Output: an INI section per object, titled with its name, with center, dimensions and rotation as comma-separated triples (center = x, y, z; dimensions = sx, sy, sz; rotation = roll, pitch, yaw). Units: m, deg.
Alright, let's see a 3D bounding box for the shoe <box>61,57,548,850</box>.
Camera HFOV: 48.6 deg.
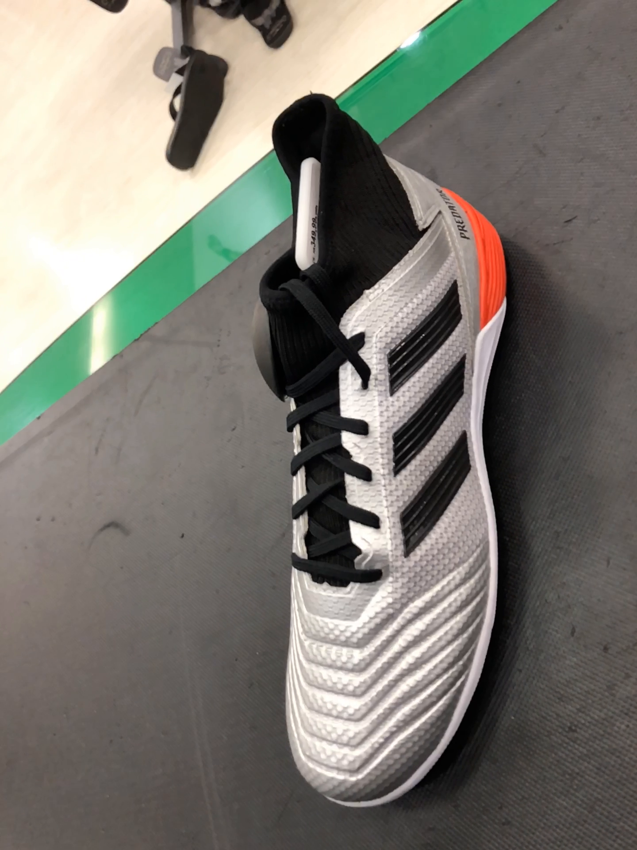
[shoe]
center = 0.012, 0.017, 0.287
dimensions = 0.090, 0.139, 0.250
rotation = -5, 70, 42
